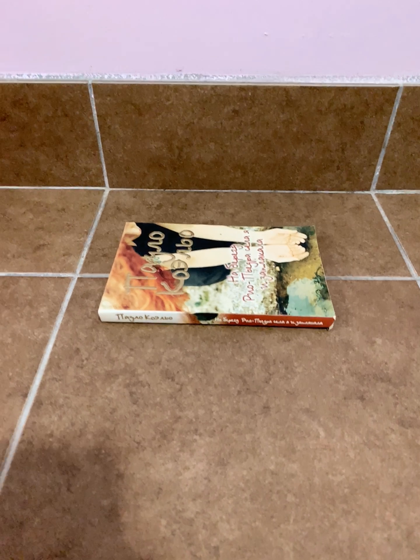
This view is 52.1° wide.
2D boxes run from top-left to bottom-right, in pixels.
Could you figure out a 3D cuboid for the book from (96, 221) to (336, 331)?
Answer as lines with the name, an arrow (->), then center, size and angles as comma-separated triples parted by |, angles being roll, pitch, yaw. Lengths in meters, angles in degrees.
book -> 0.006, -0.009, 0.373 | 0.181, 0.016, 0.120 | 2, 42, 1
